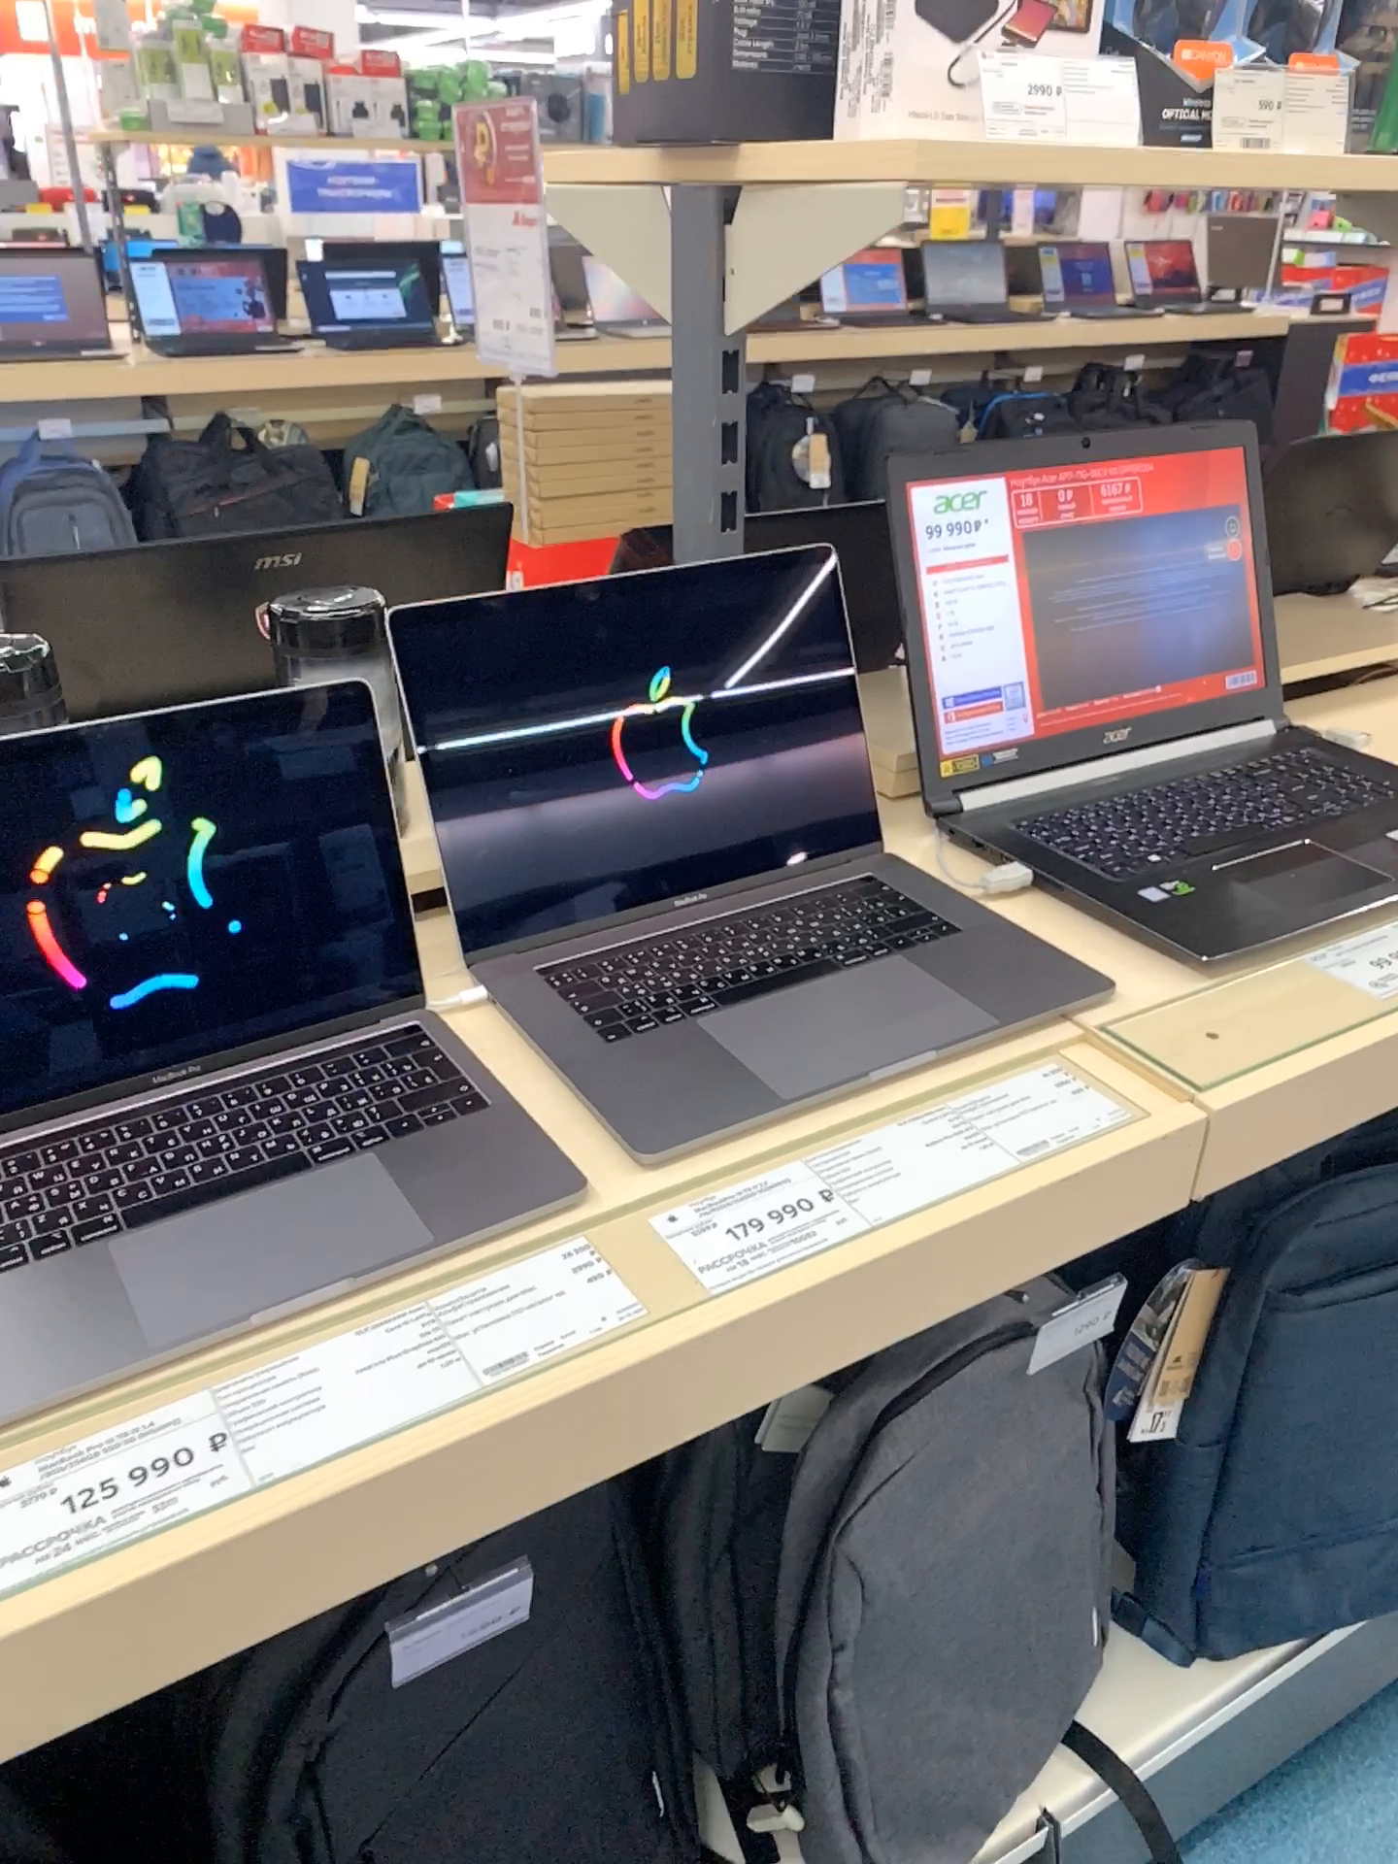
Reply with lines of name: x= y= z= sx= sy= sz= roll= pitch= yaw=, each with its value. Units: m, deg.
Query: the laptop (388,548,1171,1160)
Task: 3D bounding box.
laptop: x=0.035 y=-0.082 z=0.904 sx=0.345 sy=0.210 sz=0.326 roll=-15 pitch=32 yaw=-28
